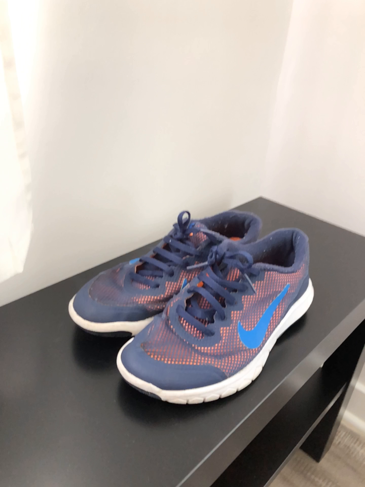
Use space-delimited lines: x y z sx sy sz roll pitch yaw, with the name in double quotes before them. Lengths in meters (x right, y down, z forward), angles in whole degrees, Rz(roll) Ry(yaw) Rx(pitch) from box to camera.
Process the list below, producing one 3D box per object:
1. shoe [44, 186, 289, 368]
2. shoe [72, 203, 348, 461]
"shoe" -0.006 0.017 0.455 0.260 0.089 0.100 -21 38 -38
"shoe" 0.041 0.053 0.392 0.120 0.089 0.260 26 35 33
